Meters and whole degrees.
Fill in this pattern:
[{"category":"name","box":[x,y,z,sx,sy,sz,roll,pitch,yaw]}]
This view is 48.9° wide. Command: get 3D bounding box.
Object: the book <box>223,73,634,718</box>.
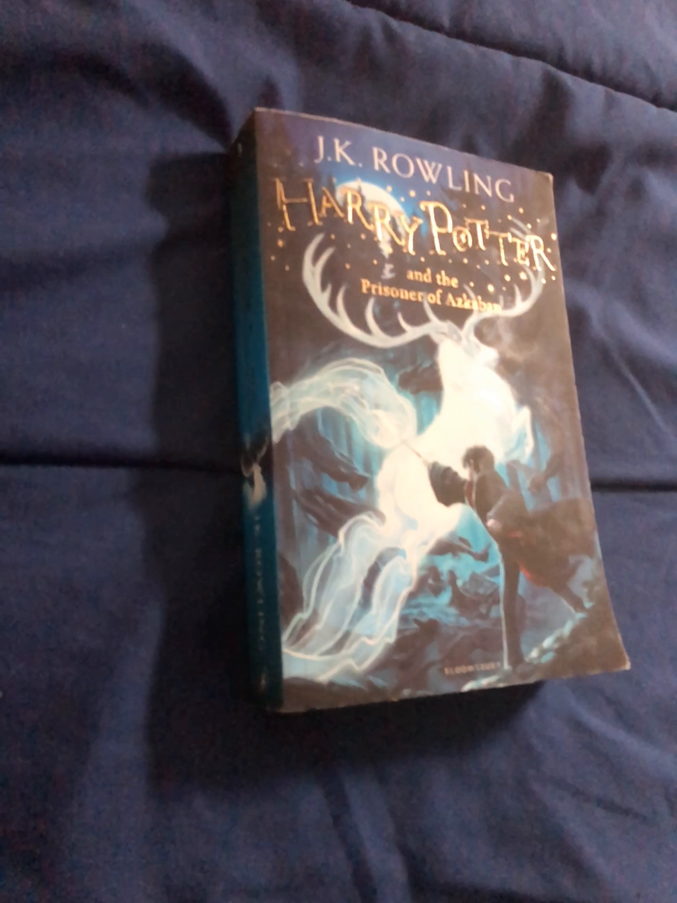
[{"category":"book","box":[0.031,-0.018,0.273,0.134,0.045,0.200,2,79,-25]}]
